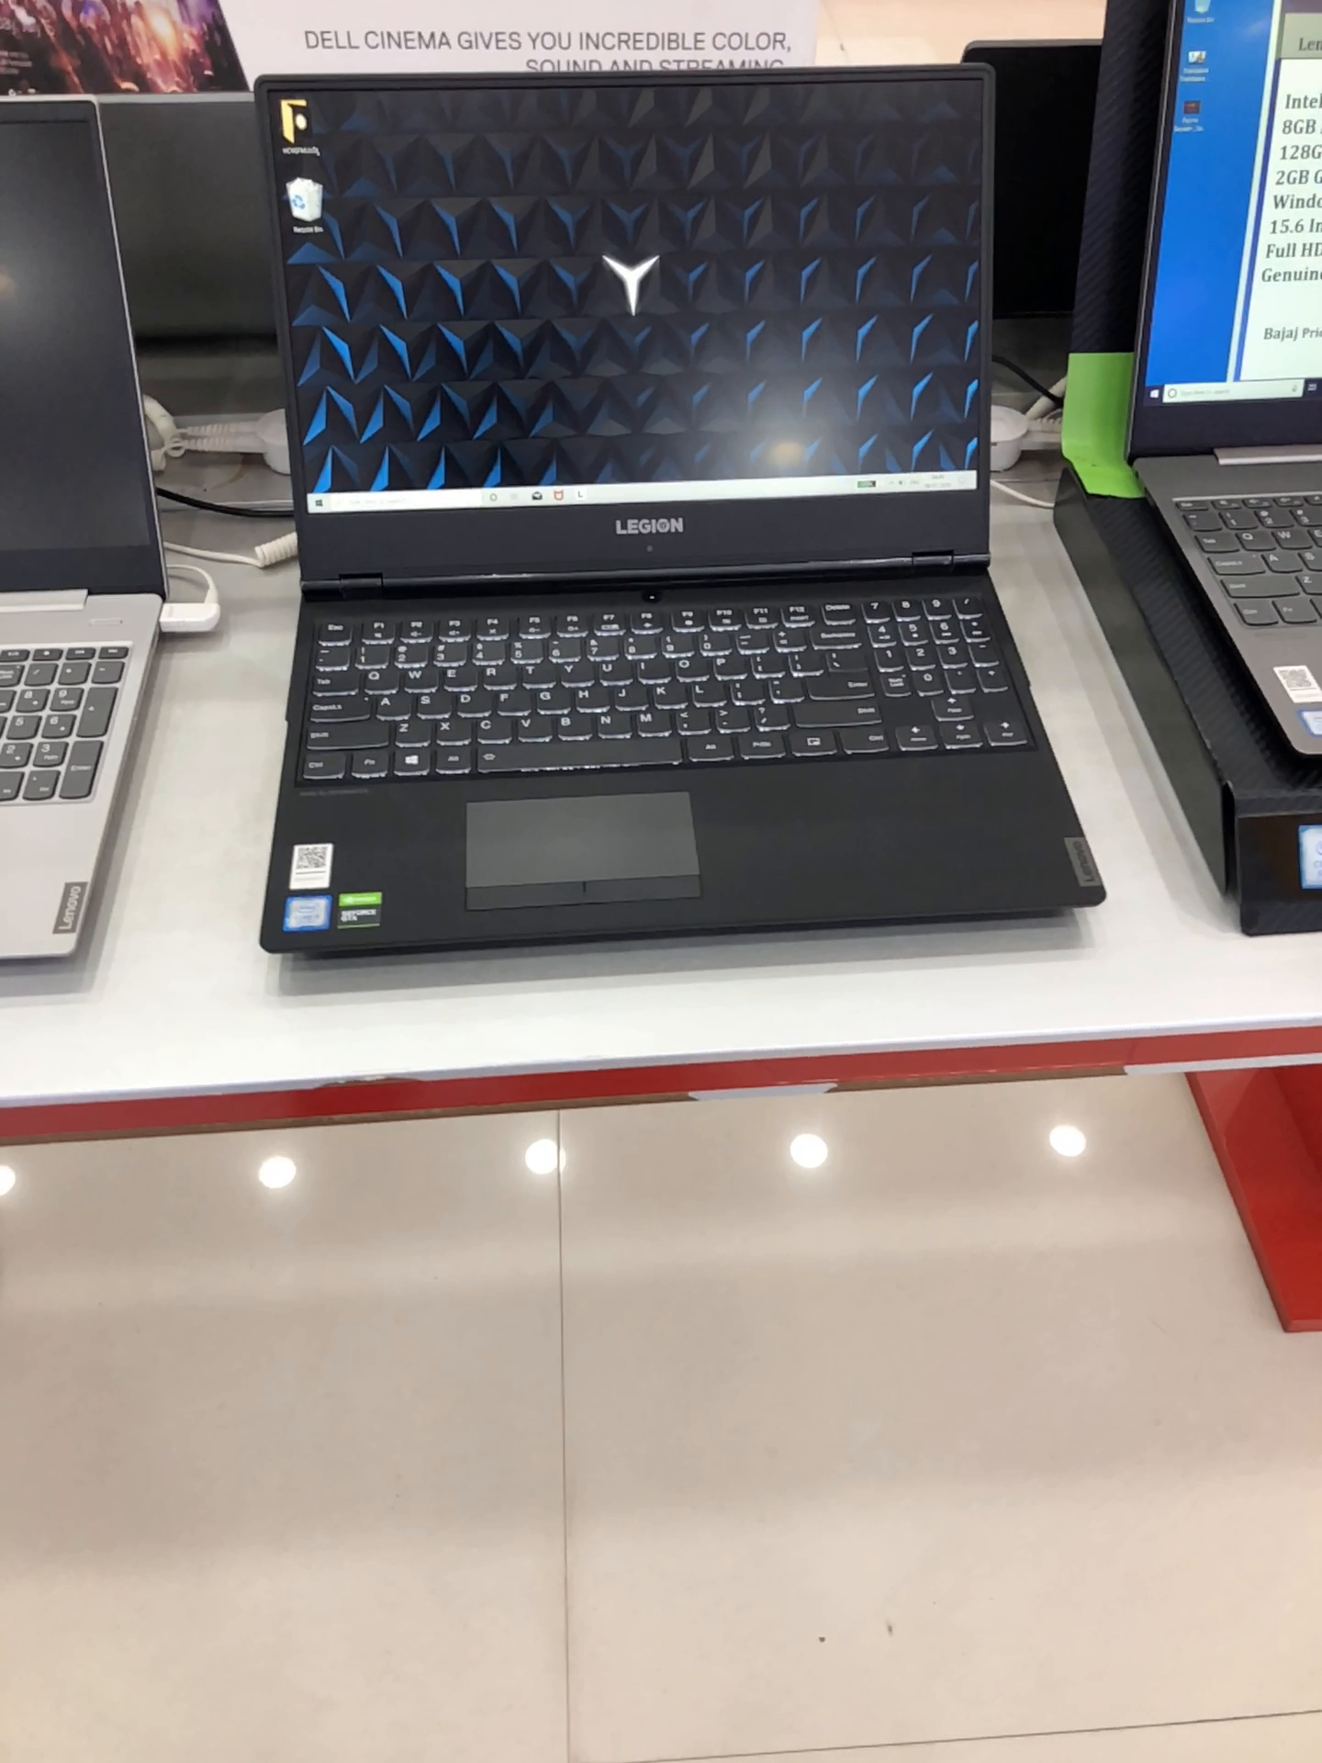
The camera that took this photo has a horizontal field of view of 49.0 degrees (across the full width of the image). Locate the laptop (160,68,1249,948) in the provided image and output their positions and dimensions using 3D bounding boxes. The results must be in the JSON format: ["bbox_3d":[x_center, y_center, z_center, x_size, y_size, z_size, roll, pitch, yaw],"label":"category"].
[{"bbox_3d":[0.002,-0.178,0.627,0.334,0.191,0.349,-3,49,-4],"label":"laptop"}]
